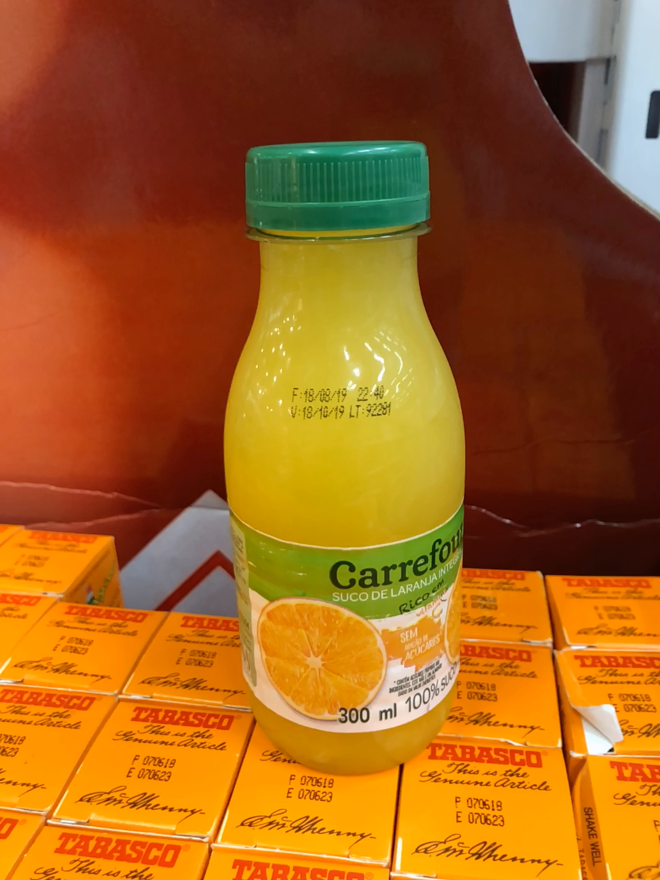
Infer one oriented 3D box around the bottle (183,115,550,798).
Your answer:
[{"bbox_3d":[0.008,0.002,0.184,0.060,0.149,0.050,-13,24,-26],"label":"bottle"}]
